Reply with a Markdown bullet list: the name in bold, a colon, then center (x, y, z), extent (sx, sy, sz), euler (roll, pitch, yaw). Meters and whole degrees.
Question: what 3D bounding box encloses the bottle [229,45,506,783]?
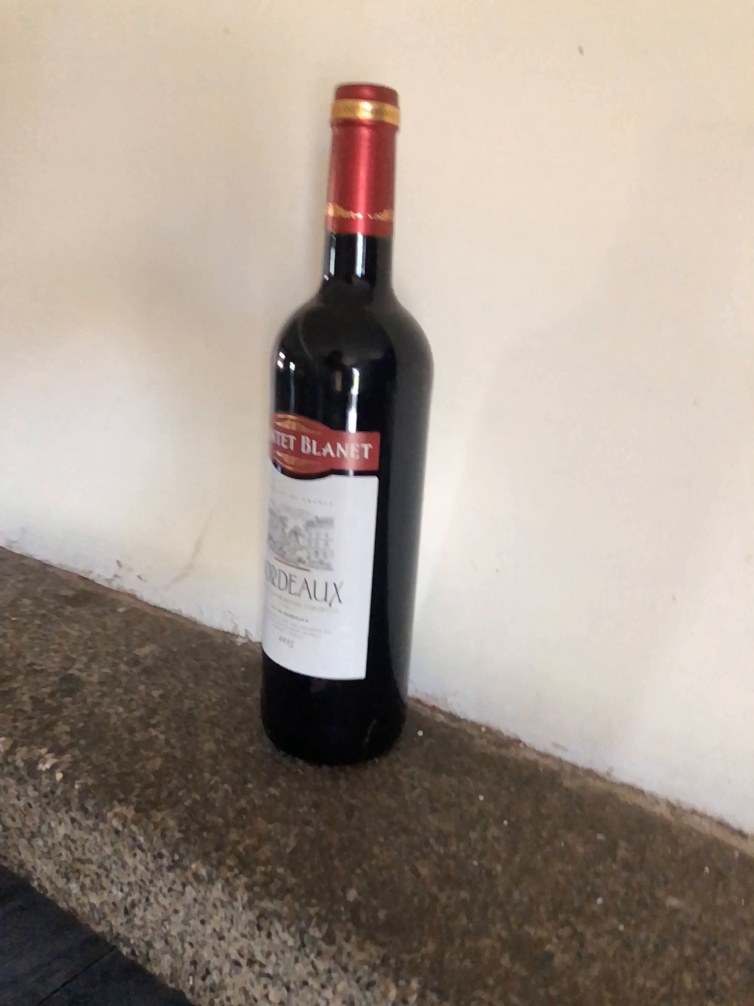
- **bottle**: center (-0.008, -0.034, 0.376), extent (0.080, 0.289, 0.080), euler (3, 14, -1)
